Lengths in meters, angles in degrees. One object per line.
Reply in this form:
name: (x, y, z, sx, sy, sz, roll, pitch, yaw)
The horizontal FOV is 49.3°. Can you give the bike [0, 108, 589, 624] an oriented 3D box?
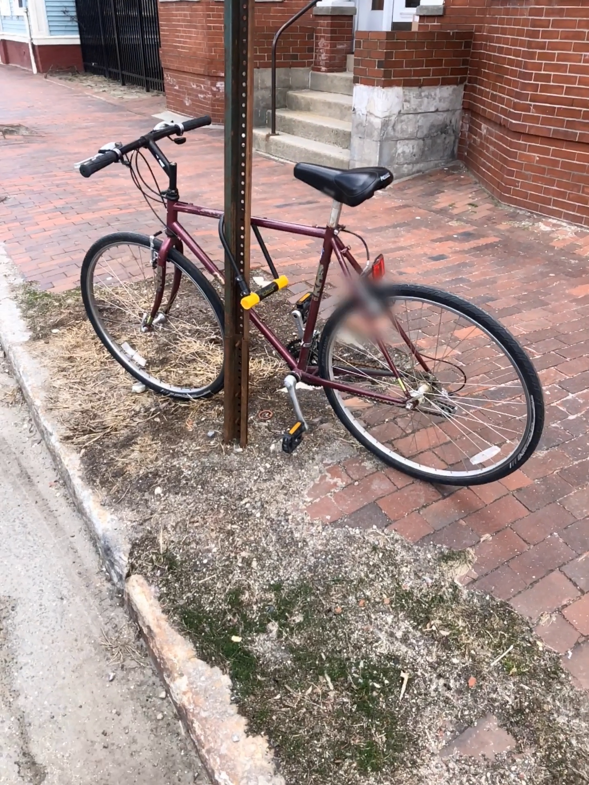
bike: (-0.099, -0.242, 1.986, 1.728, 1.011, 0.671, 18, 34, 27)
